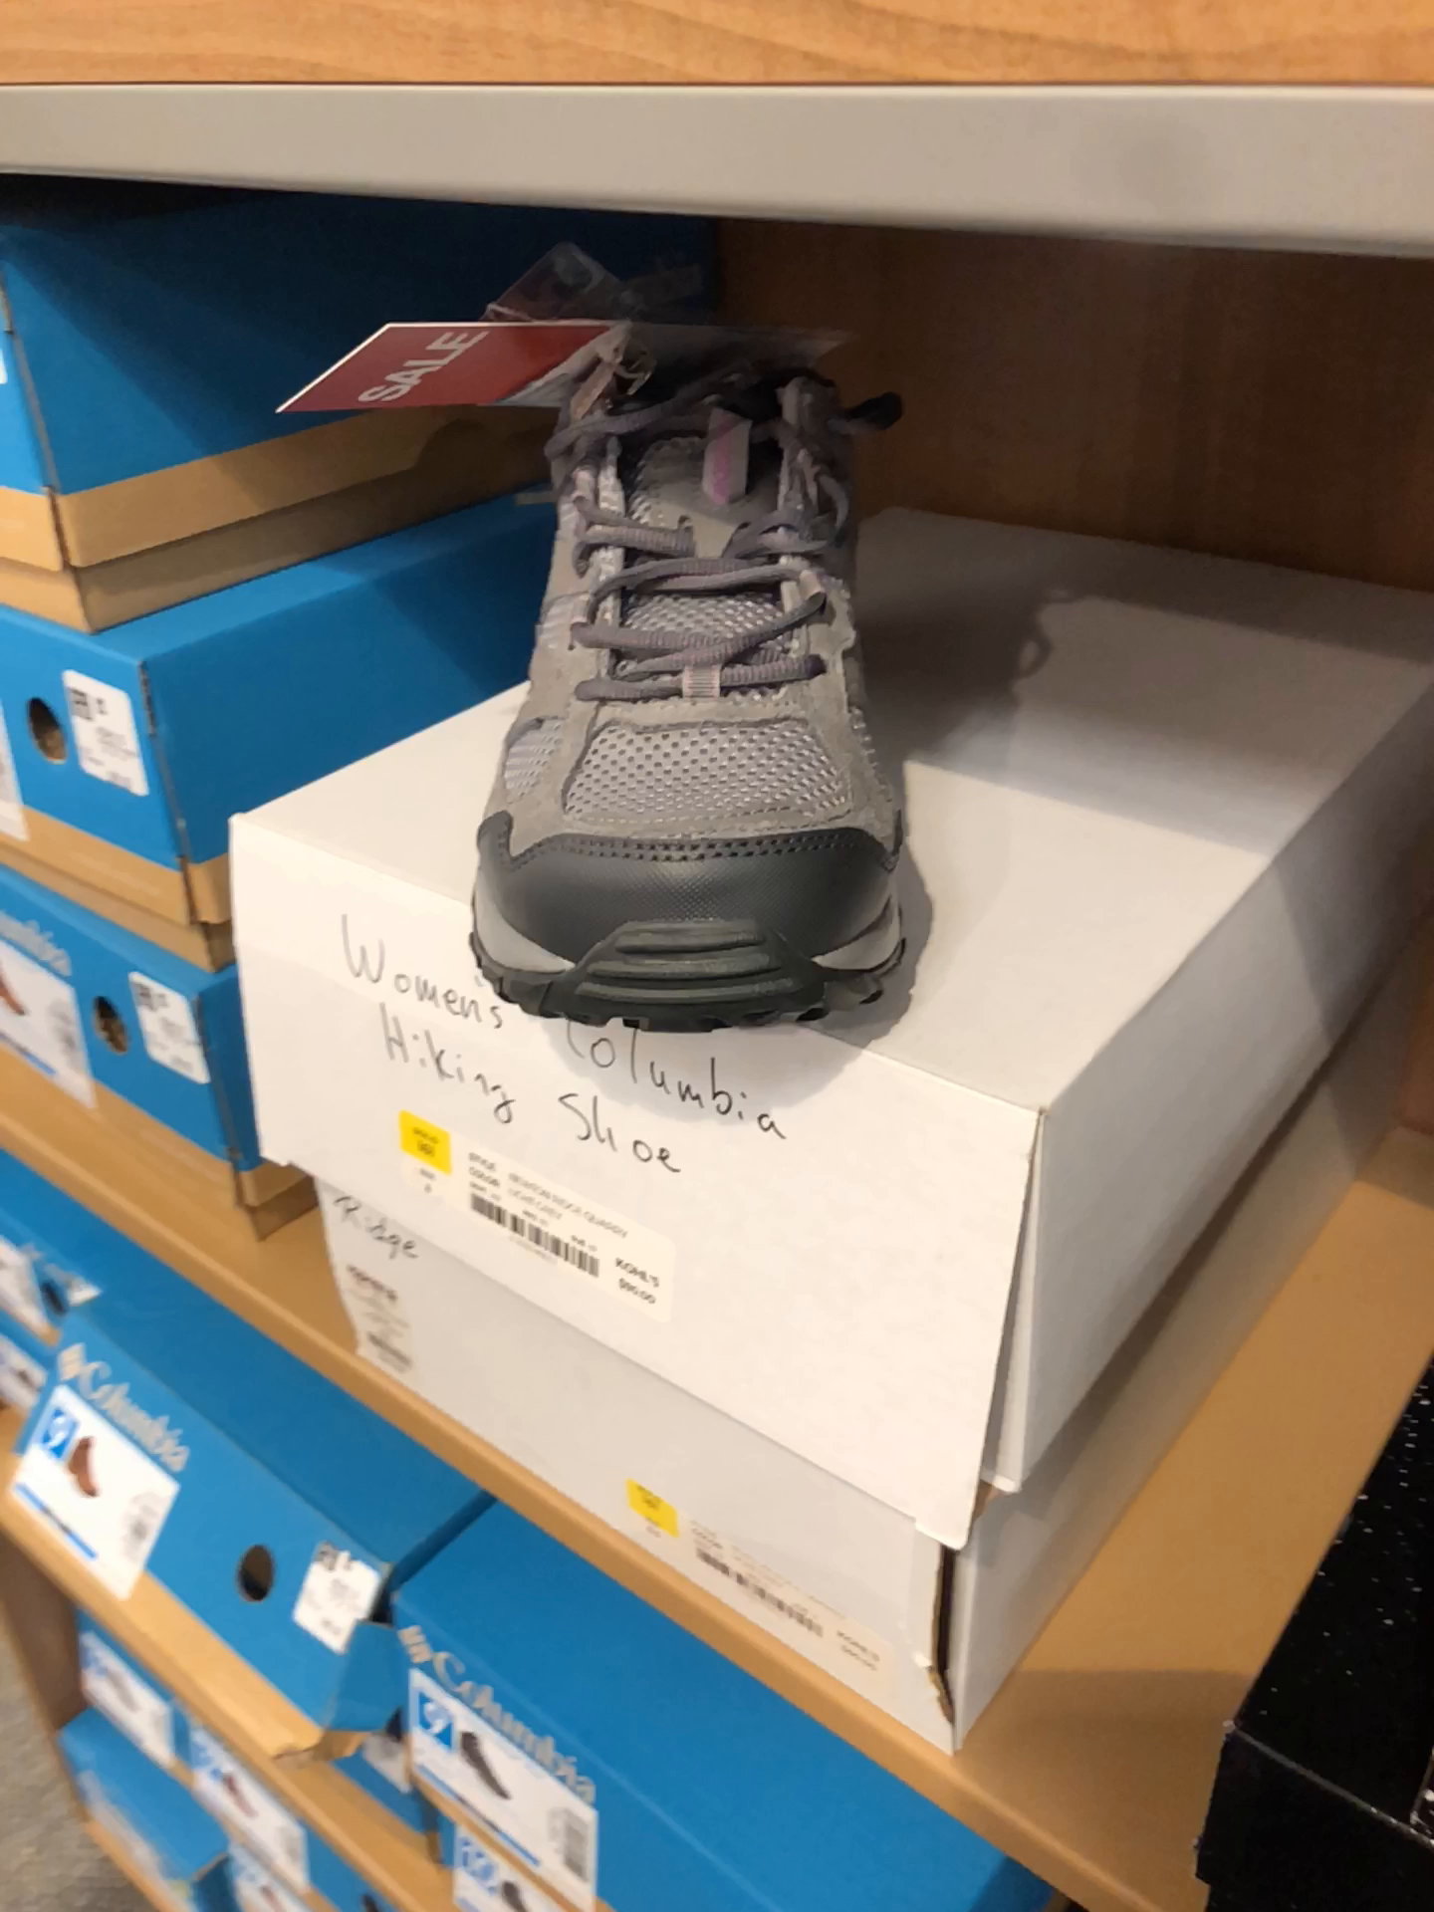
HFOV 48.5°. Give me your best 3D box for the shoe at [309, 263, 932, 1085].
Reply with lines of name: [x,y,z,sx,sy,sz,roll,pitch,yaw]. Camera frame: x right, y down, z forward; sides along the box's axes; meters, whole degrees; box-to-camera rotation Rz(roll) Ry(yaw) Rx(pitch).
shoe: [-0.004,-0.093,0.407,0.104,0.114,0.268,0,32,5]
